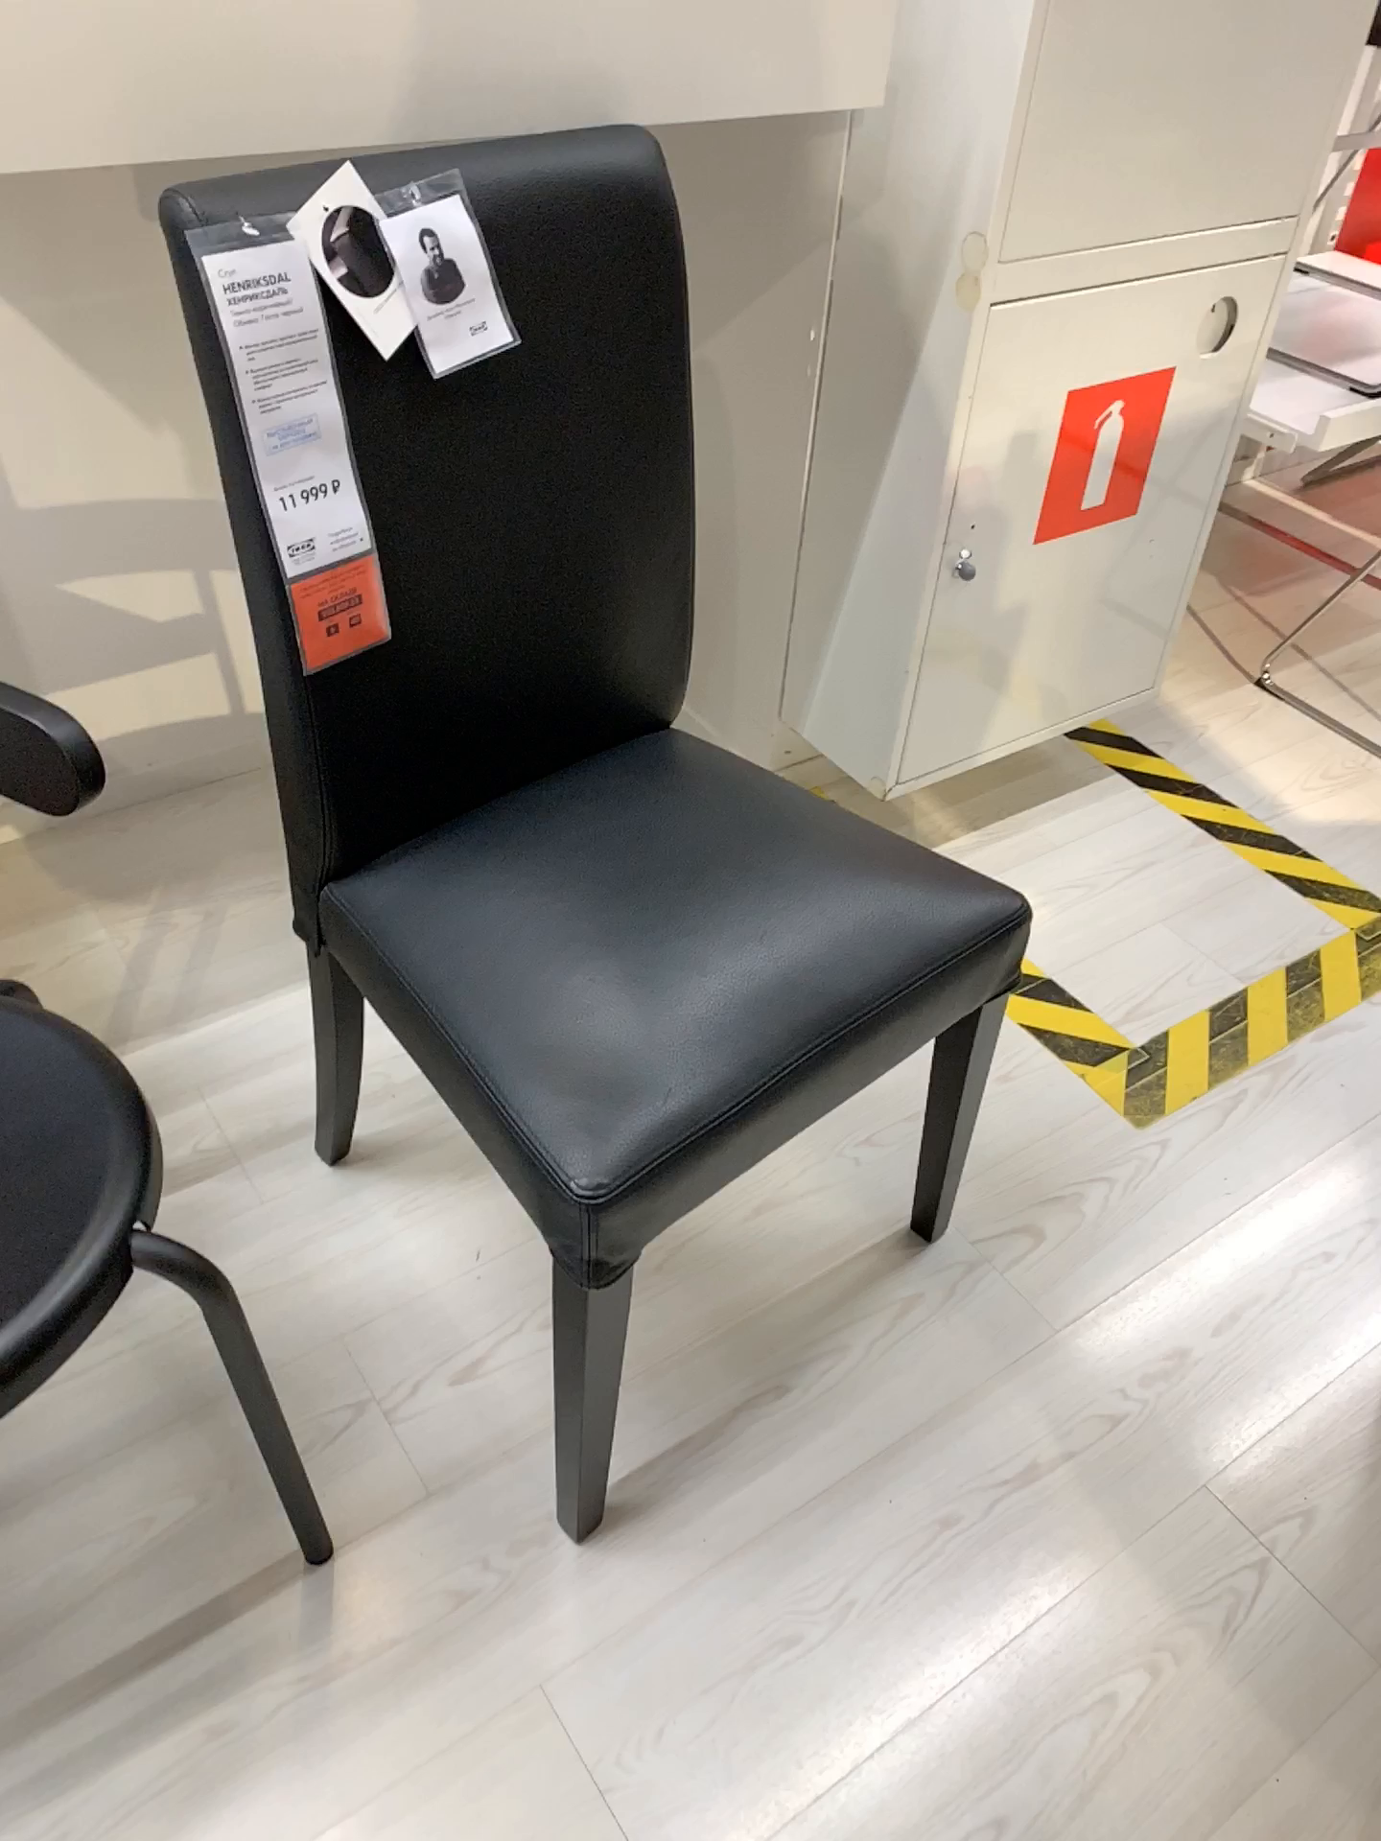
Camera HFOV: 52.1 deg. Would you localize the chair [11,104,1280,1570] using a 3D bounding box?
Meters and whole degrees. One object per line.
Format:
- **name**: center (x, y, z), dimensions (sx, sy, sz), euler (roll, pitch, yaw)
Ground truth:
- **chair**: center (-0.059, -0.079, 1.238), dimensions (0.582, 0.974, 0.601), euler (-30, 51, -35)
